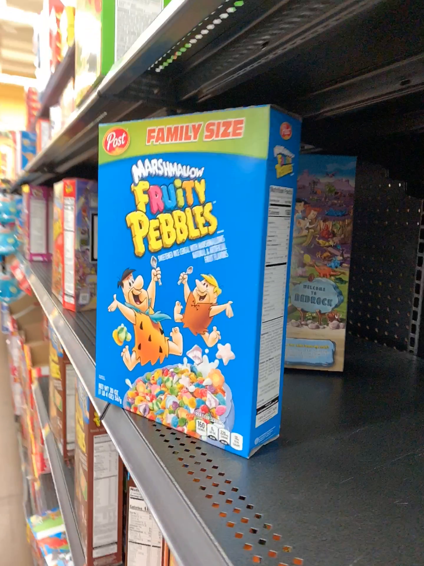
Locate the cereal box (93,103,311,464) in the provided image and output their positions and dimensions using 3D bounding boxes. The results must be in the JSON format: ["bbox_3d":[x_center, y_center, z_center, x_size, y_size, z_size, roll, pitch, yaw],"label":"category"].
[{"bbox_3d":[-0.026,-0.008,0.486,0.230,0.329,0.070,9,10,34],"label":"cereal box"}]
